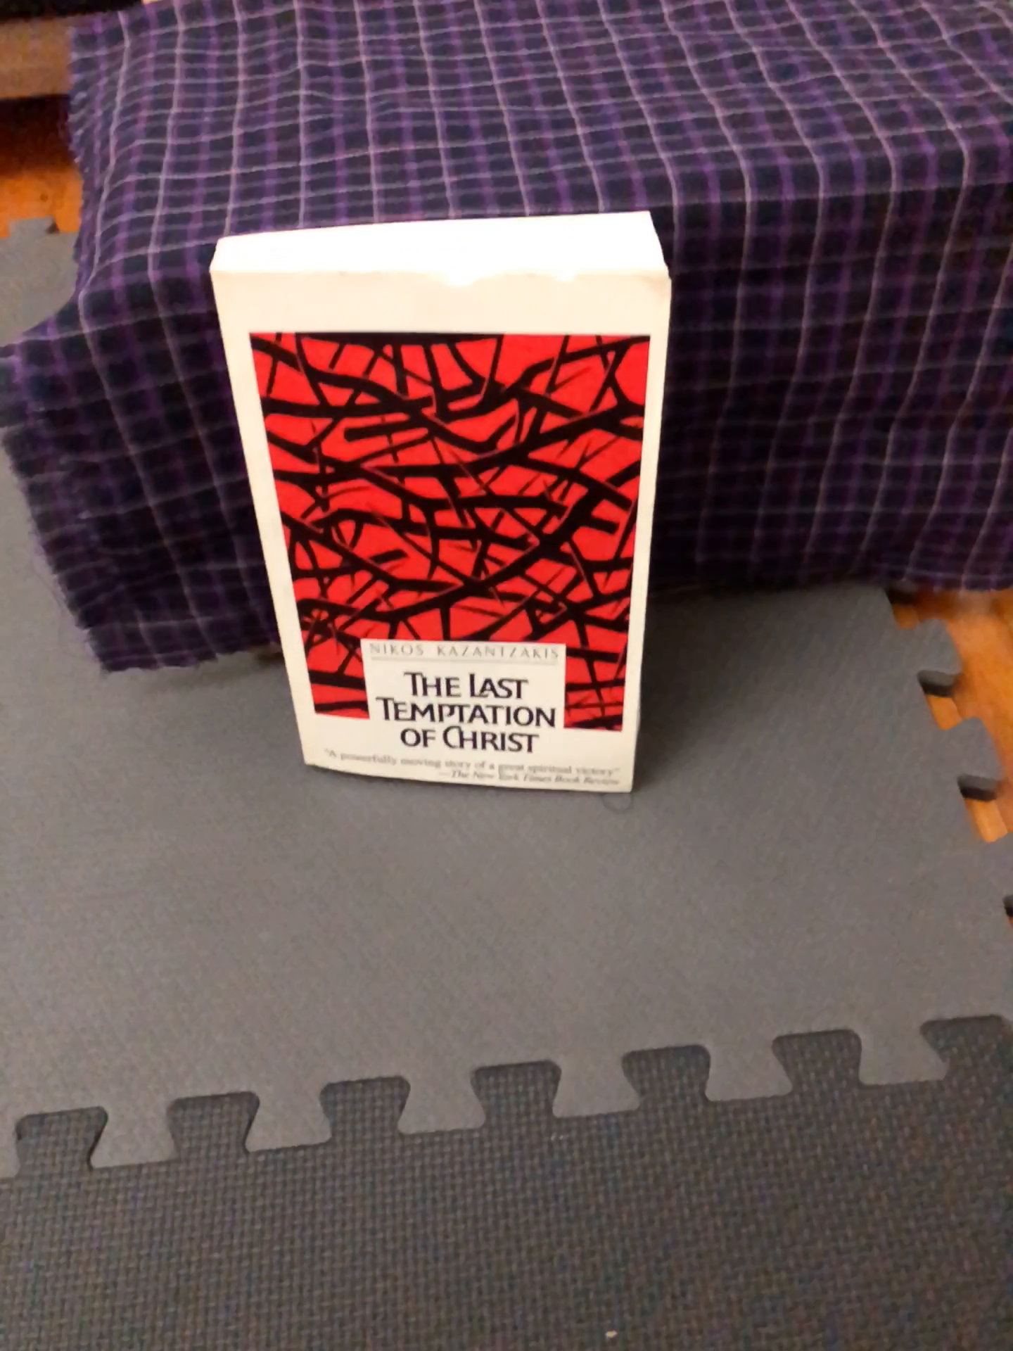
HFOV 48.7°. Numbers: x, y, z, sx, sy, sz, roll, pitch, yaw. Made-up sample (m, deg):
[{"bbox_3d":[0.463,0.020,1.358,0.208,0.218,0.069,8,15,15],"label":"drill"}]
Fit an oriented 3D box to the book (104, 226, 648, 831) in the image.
[{"bbox_3d":[-0.029,-0.042,0.392,0.150,0.209,0.050,5,42,12],"label":"book"}]
